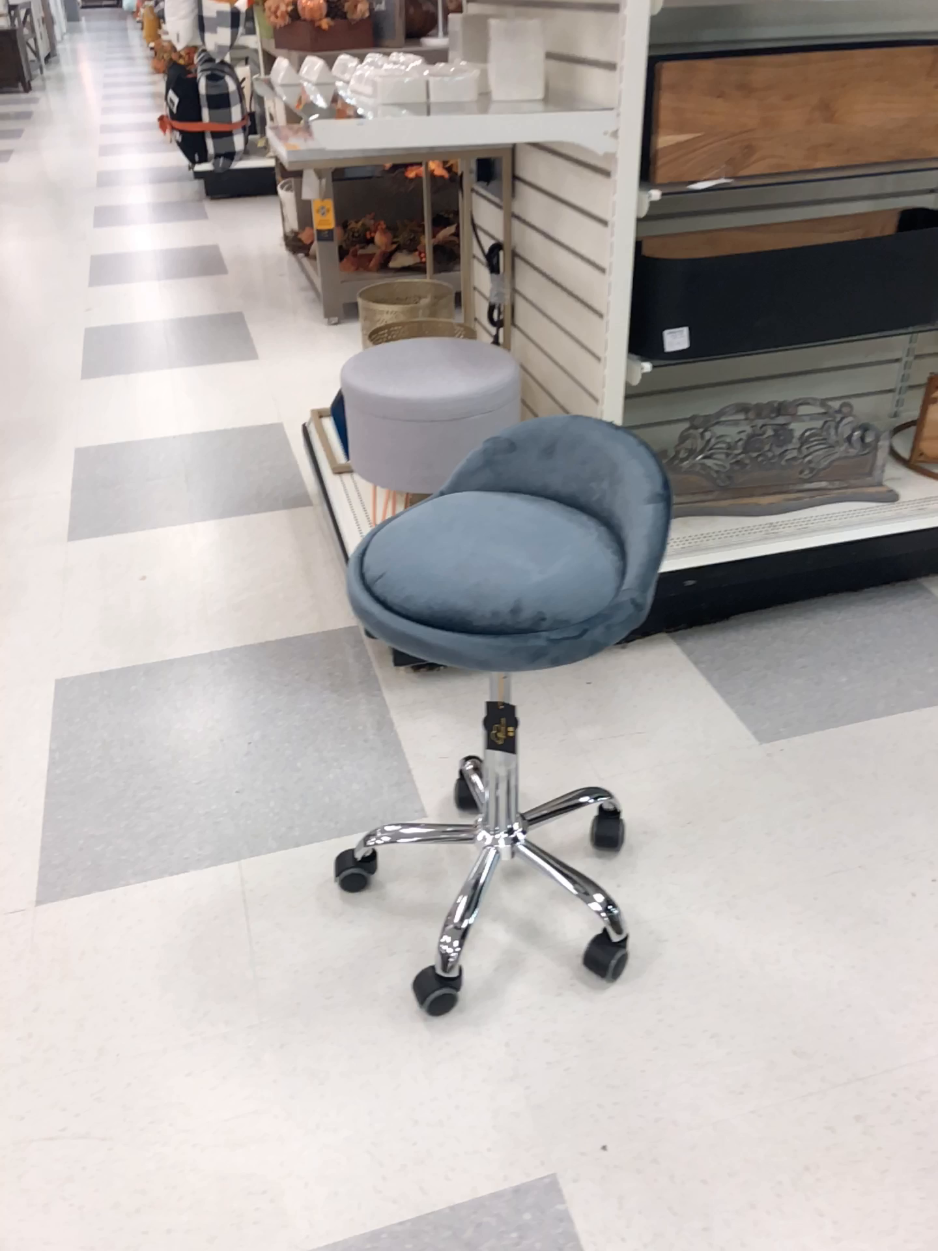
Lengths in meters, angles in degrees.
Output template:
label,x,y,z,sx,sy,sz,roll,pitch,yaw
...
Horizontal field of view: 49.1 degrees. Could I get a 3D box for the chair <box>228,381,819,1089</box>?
label,x,y,z,sx,sy,sz,roll,pitch,yaw
chair,0.056,0.105,1.338,0.484,0.630,0.476,-22,38,-28
